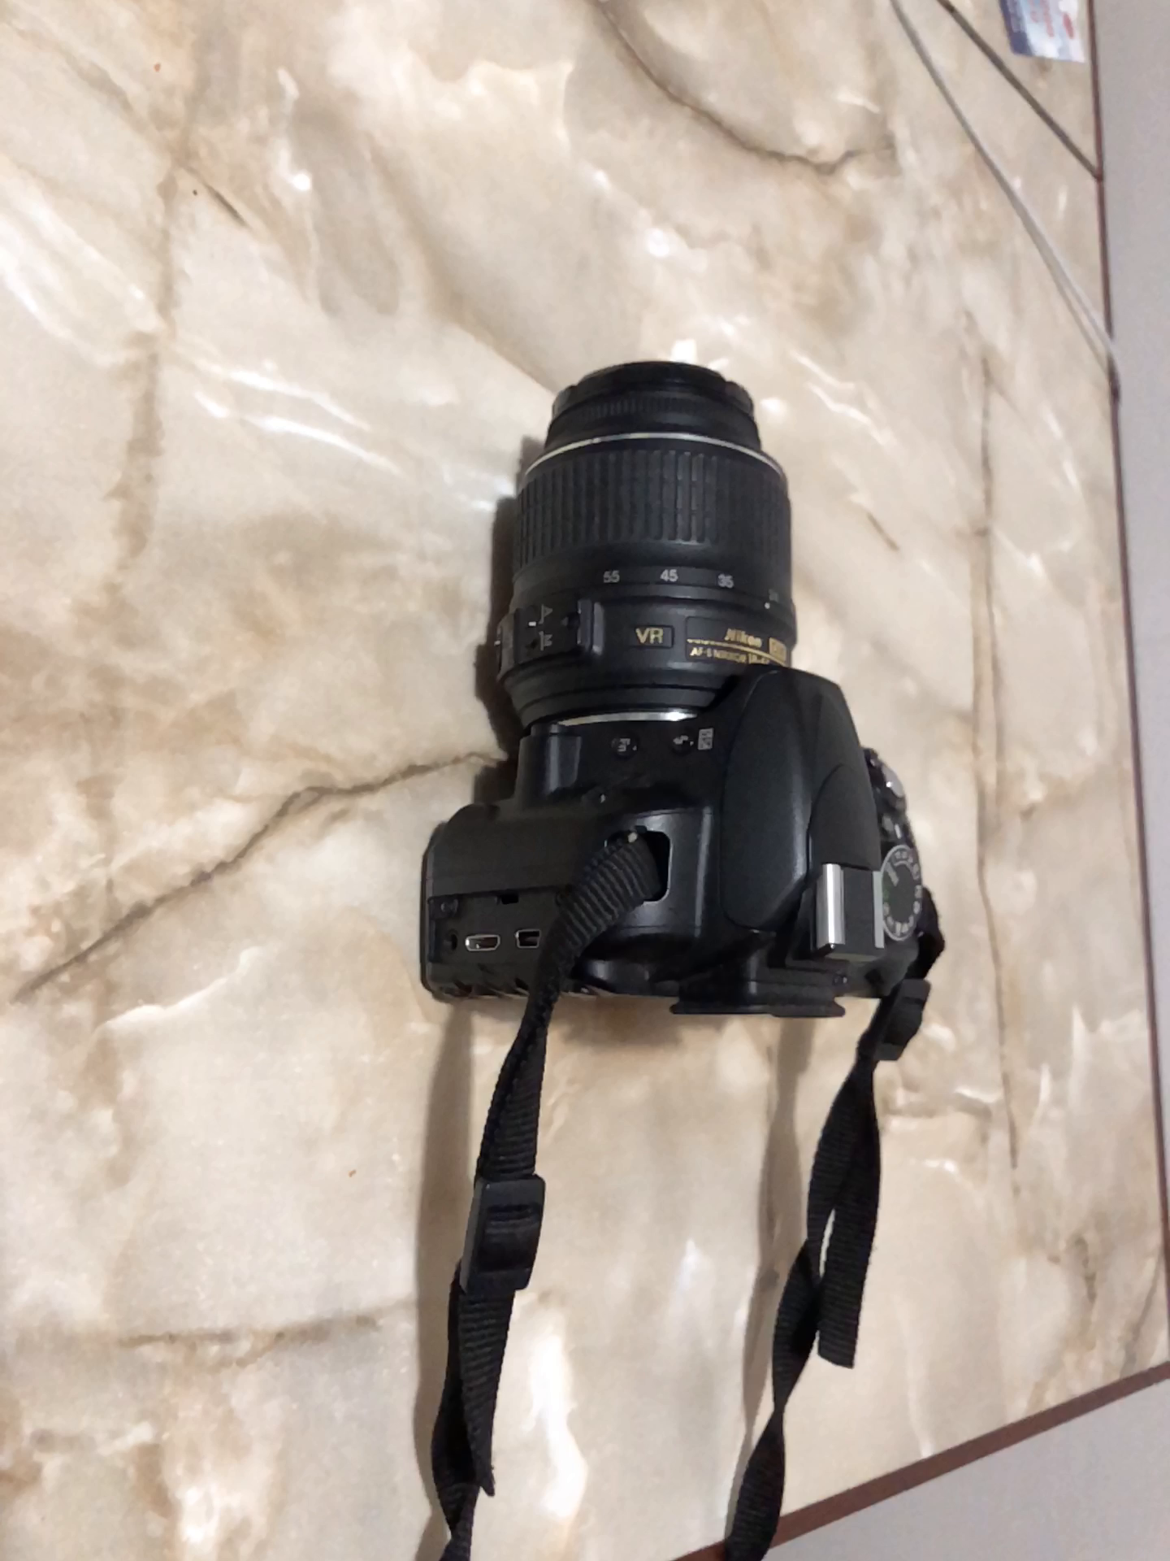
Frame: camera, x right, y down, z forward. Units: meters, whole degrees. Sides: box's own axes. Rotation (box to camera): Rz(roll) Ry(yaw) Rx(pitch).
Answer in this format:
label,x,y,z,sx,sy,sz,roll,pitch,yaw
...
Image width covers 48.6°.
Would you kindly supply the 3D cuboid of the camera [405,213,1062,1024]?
label,x,y,z,sx,sy,sz,roll,pitch,yaw
camera,0.039,-0.021,0.325,0.126,0.099,0.160,11,75,-44
